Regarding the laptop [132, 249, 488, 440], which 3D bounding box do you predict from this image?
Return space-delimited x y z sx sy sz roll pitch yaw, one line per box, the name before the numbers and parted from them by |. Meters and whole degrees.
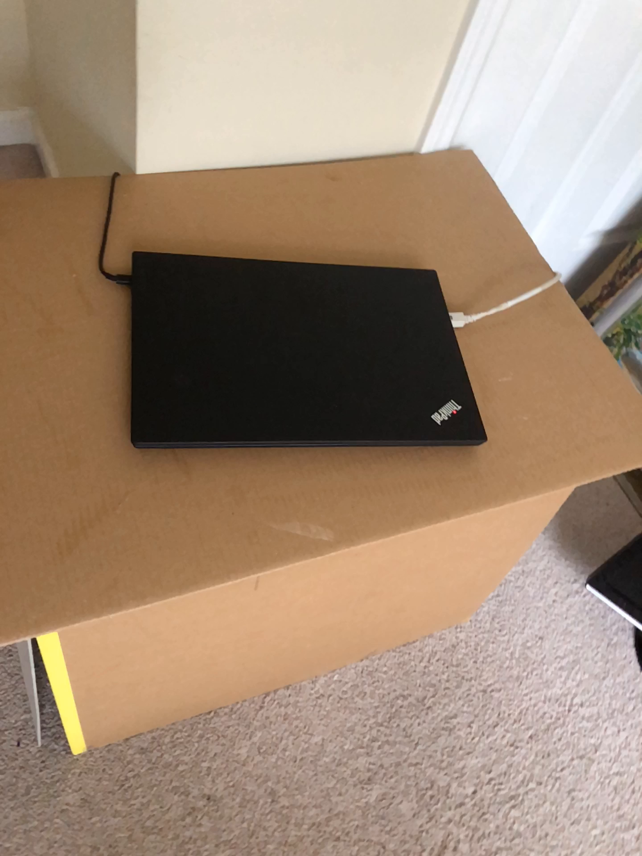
laptop | -0.013 -0.084 0.689 0.327 0.002 0.226 0 56 -16
